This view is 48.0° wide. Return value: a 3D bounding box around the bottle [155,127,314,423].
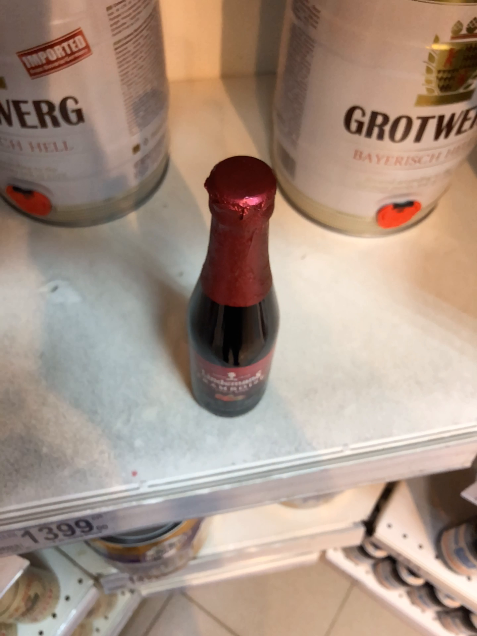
[{"bbox_3d":[-0.004,-0.004,0.297,0.058,0.199,0.058,1,60,-2],"label":"bottle"}]
